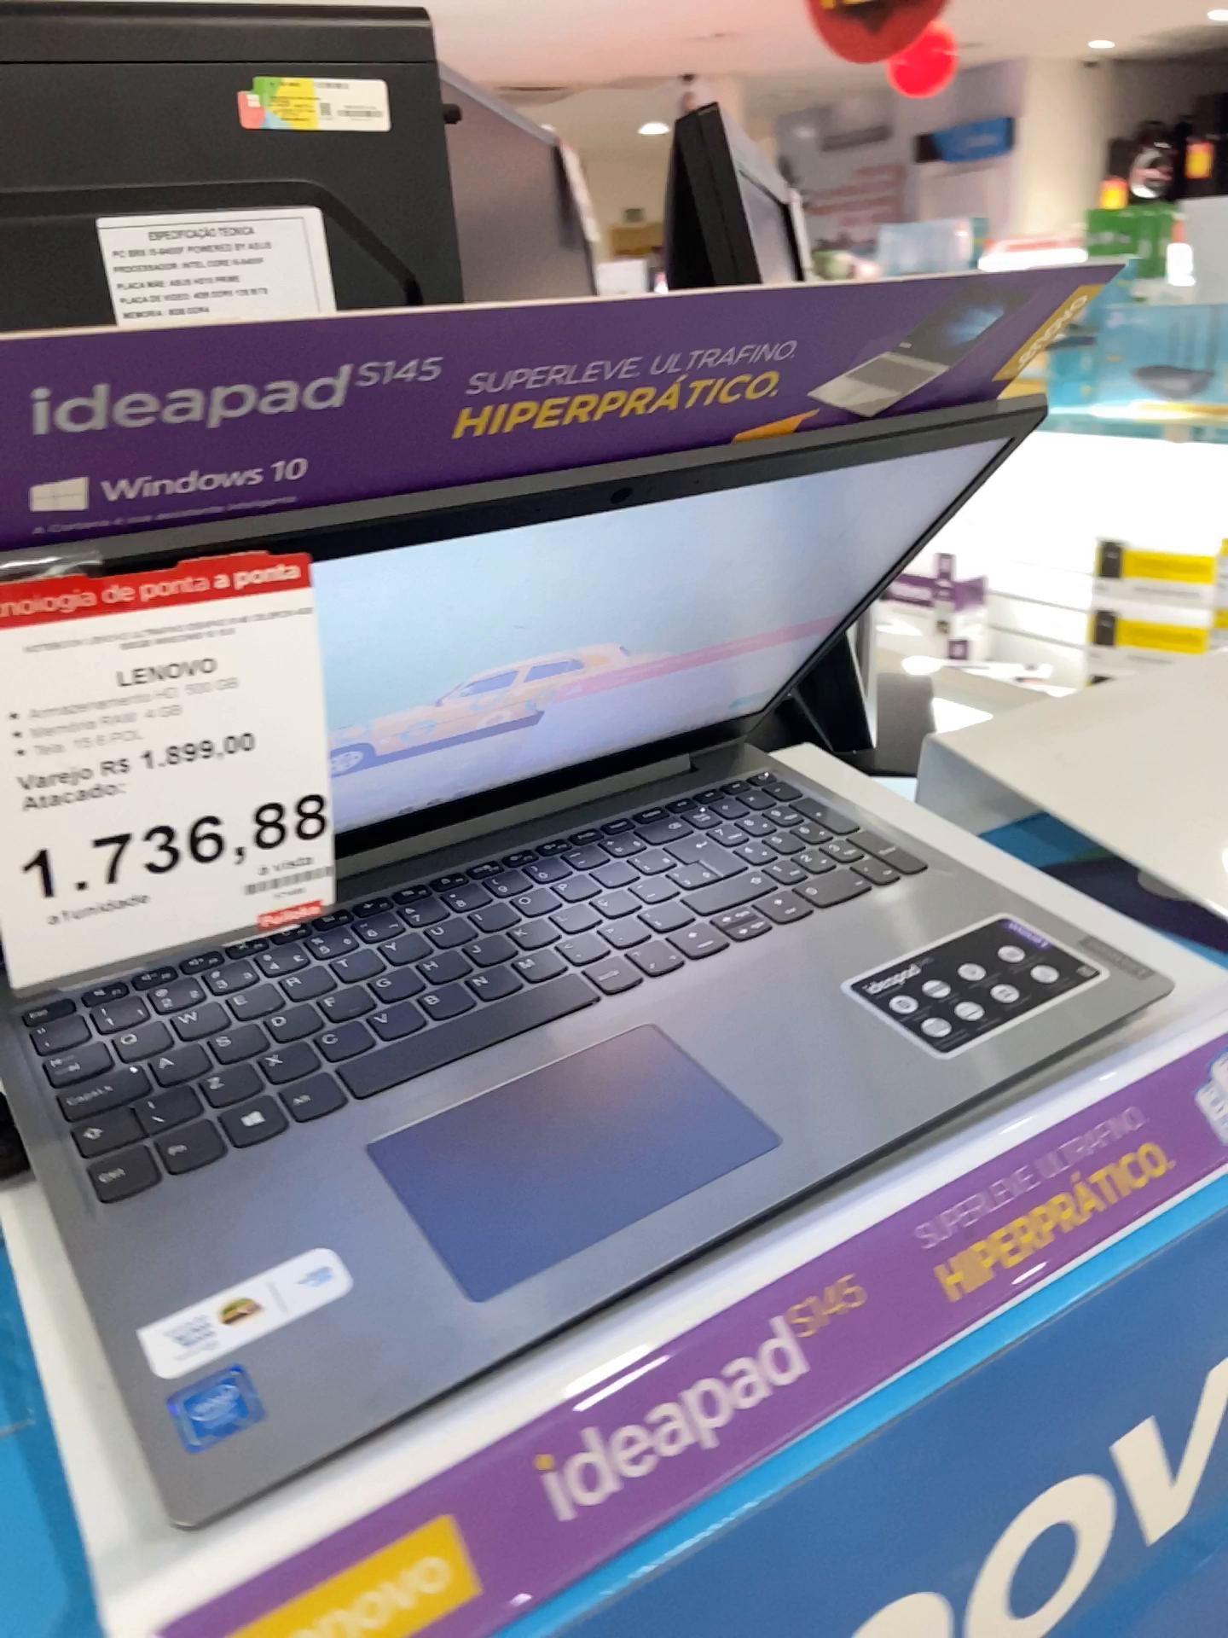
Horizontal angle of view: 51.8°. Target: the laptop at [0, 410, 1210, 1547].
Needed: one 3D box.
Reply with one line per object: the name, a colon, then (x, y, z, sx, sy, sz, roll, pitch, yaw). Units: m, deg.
laptop: (-0.027, -0.016, 0.415, 0.357, 0.161, 0.244, -17, 30, -31)
